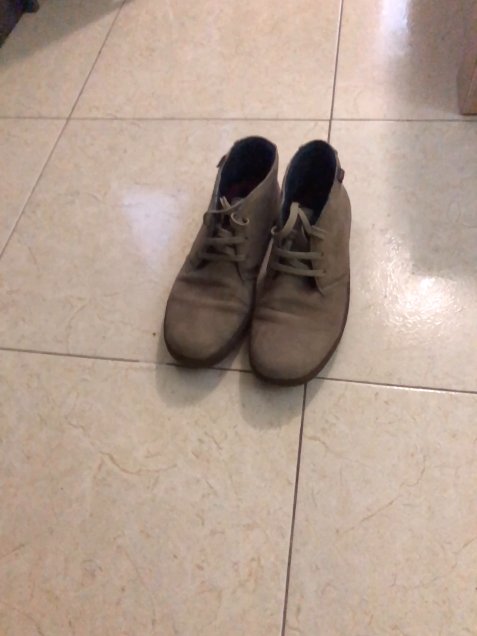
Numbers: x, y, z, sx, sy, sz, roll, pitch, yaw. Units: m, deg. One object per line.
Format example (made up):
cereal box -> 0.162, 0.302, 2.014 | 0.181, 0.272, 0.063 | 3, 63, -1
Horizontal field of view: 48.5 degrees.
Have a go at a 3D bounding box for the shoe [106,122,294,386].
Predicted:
shoe -> -0.027, -0.083, 0.619 | 0.110, 0.120, 0.280 | 12, 60, 15

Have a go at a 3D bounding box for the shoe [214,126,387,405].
shoe -> 0.079, -0.067, 0.587 | 0.120, 0.120, 0.280 | 10, 60, 14
